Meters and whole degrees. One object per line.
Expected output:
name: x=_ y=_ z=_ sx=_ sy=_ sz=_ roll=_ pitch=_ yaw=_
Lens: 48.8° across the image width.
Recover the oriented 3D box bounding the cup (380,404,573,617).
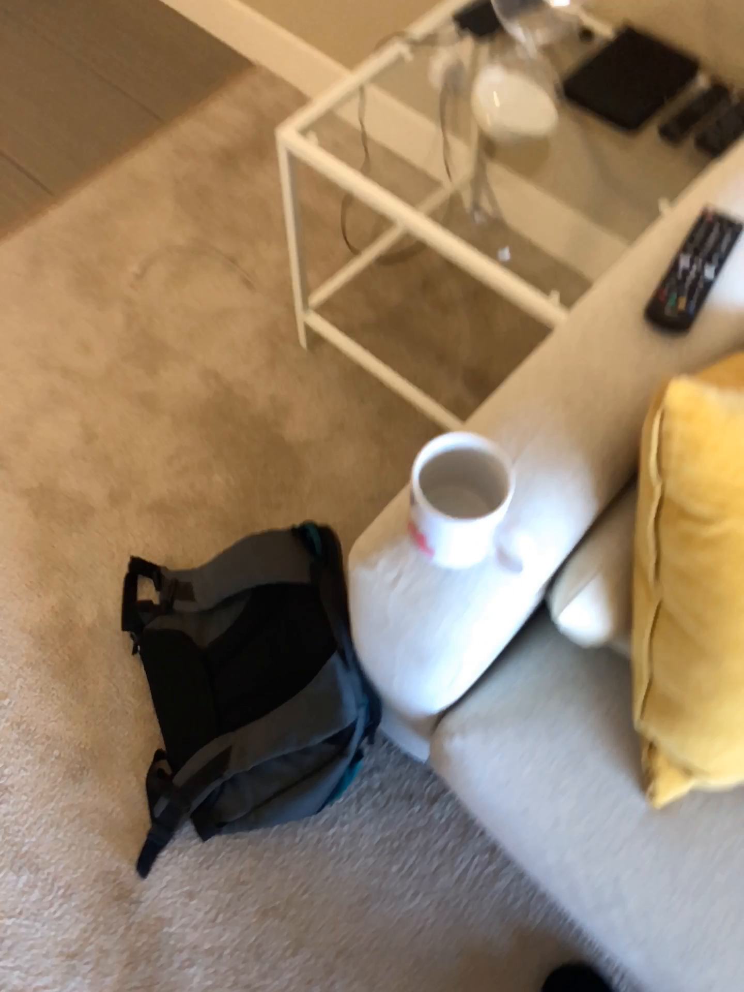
cup: x=0.078 y=0.013 z=0.658 sx=0.080 sy=0.100 sz=0.120 roll=-40 pitch=70 yaw=-18
